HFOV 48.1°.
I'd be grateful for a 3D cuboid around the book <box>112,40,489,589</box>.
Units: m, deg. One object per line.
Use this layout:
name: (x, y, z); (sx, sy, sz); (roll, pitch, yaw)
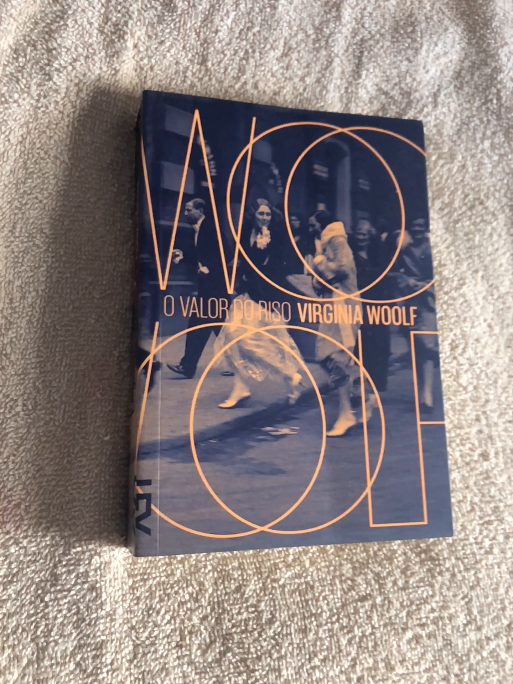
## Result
book: (0.016, -0.010, 0.240); (0.140, 0.050, 0.190); (2, 81, -17)
